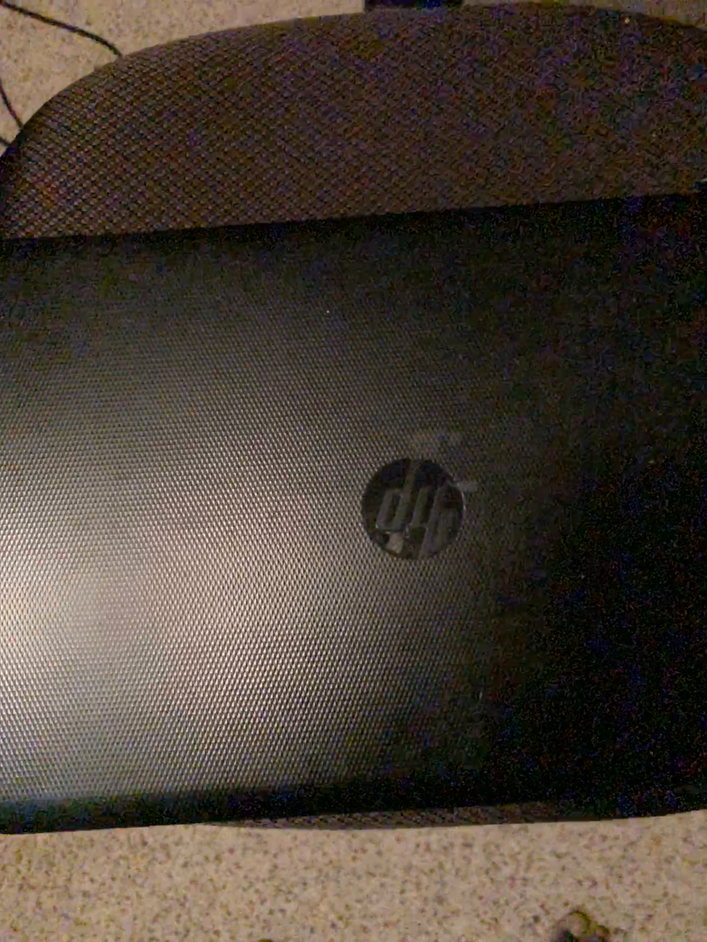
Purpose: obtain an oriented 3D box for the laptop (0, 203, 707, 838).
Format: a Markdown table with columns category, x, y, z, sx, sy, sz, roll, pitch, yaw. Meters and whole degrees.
| category | x | y | z | sx | sy | sz | roll | pitch | yaw |
| --- | --- | --- | --- | --- | --- | --- | --- | --- | --- |
| laptop | 0.030 | 0.012 | 0.318 | 0.378 | 0.018 | 0.244 | -3 | 84 | -4 |
